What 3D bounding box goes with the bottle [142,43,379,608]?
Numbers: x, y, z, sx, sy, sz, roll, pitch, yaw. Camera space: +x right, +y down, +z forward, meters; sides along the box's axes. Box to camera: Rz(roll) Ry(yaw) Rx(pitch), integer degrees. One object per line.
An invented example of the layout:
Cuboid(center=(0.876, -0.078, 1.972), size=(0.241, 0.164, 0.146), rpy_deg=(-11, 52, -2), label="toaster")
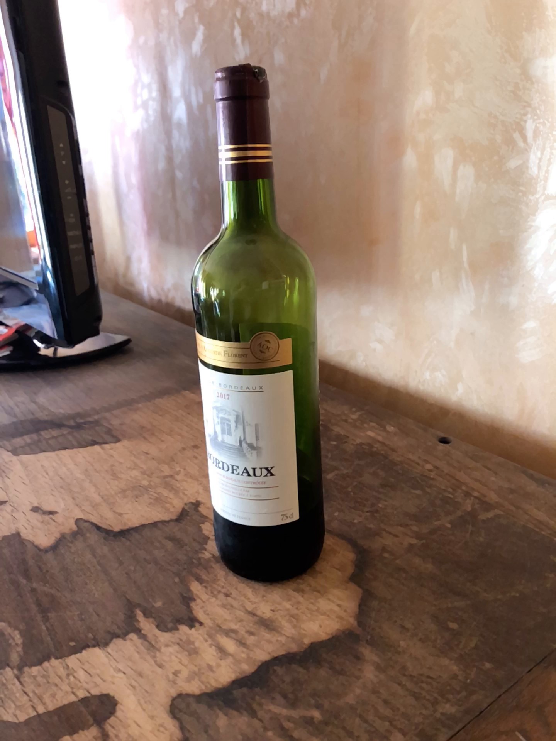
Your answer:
Cuboid(center=(-0.002, -0.019, 0.355), size=(0.090, 0.289, 0.080), rpy_deg=(9, 23, 28), label="bottle")
